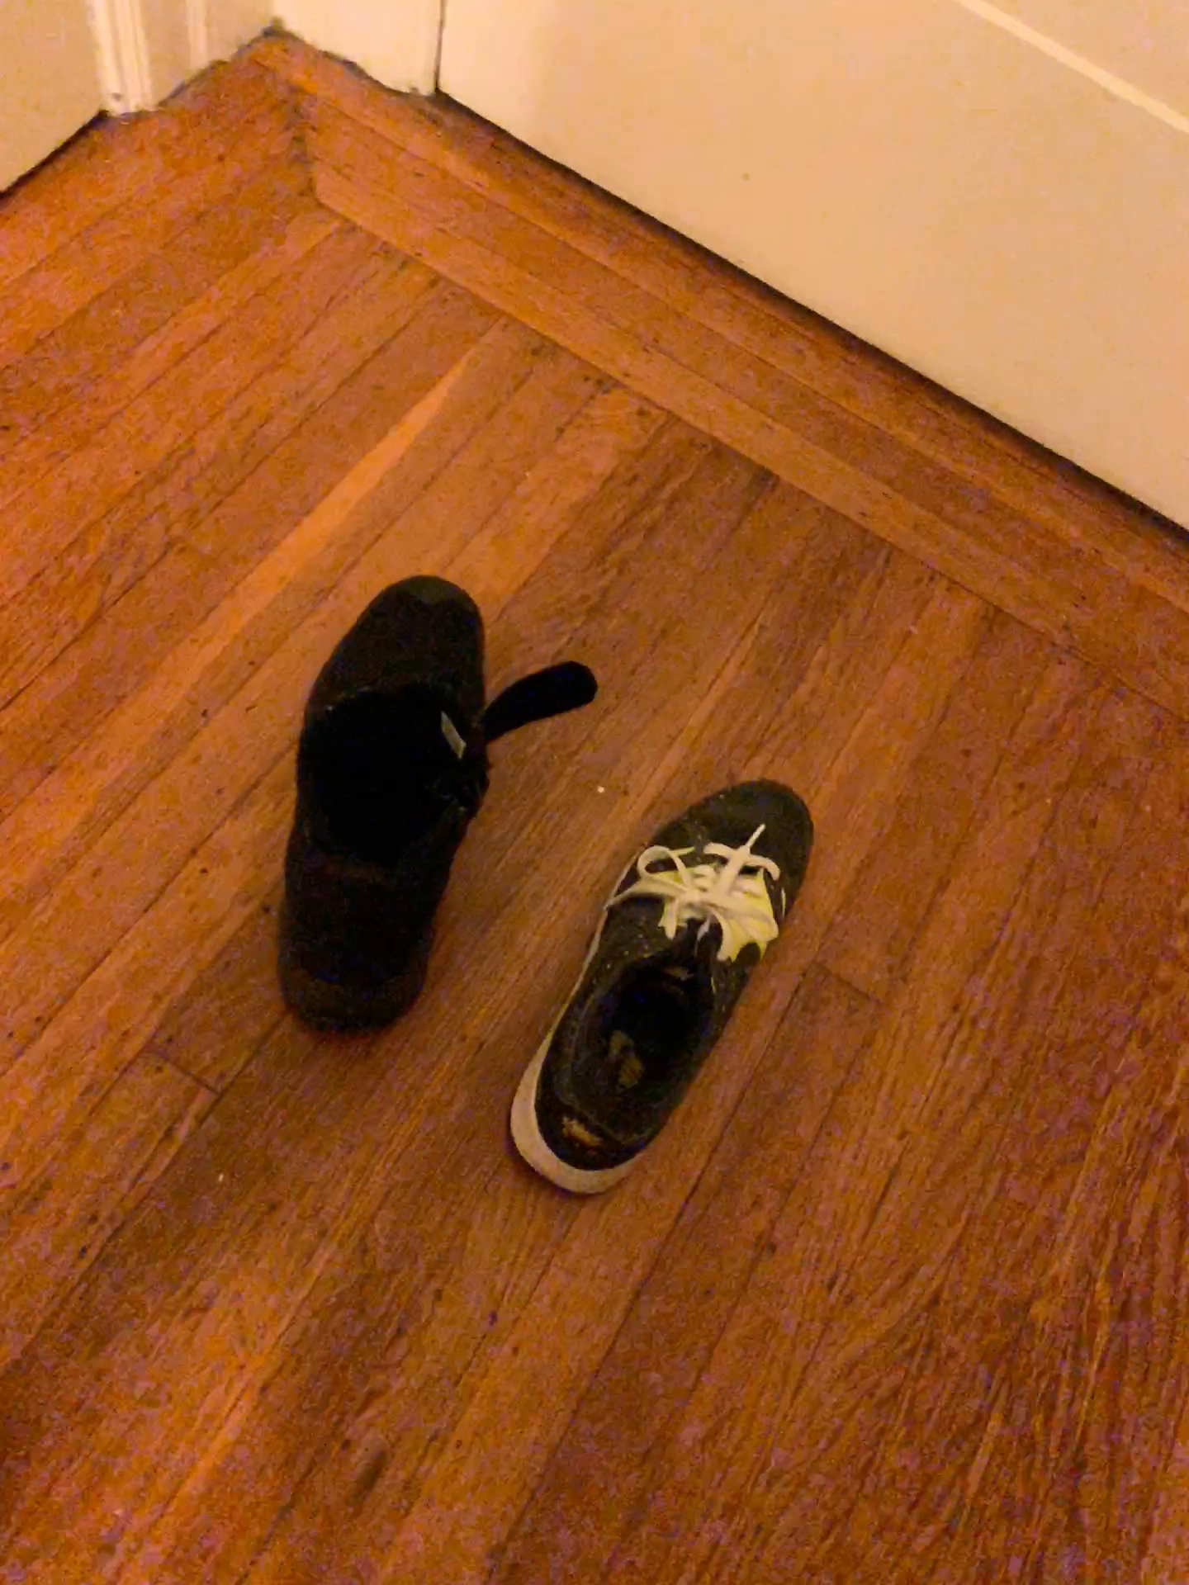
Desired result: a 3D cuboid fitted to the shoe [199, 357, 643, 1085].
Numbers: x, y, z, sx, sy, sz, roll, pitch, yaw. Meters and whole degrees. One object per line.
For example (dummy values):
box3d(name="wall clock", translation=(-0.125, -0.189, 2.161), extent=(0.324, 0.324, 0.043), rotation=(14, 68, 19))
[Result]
box3d(name="shoe", translation=(-0.092, -0.026, 0.685), extent=(0.160, 0.240, 0.311), rotation=(11, 63, -7))

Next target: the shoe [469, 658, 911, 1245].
box3d(name="shoe", translation=(0.058, 0.083, 0.682), extent=(0.120, 0.100, 0.291), rotation=(28, 62, 2))
